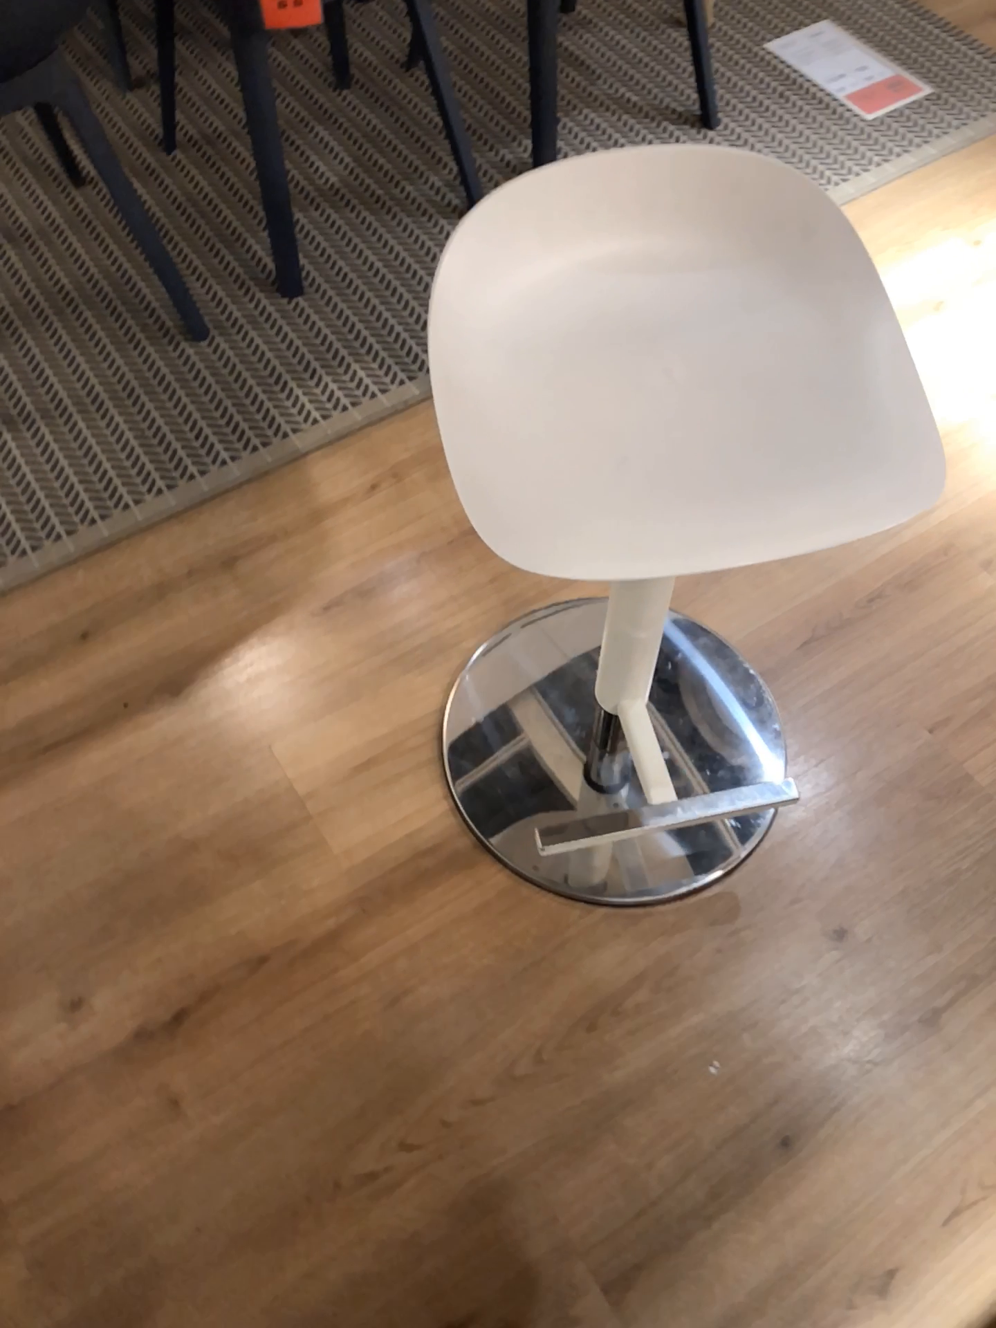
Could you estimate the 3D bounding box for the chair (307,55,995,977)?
[{"bbox_3d":[0.124,-0.080,1.047,0.440,0.699,0.451,-13,58,-8],"label":"chair"}]
